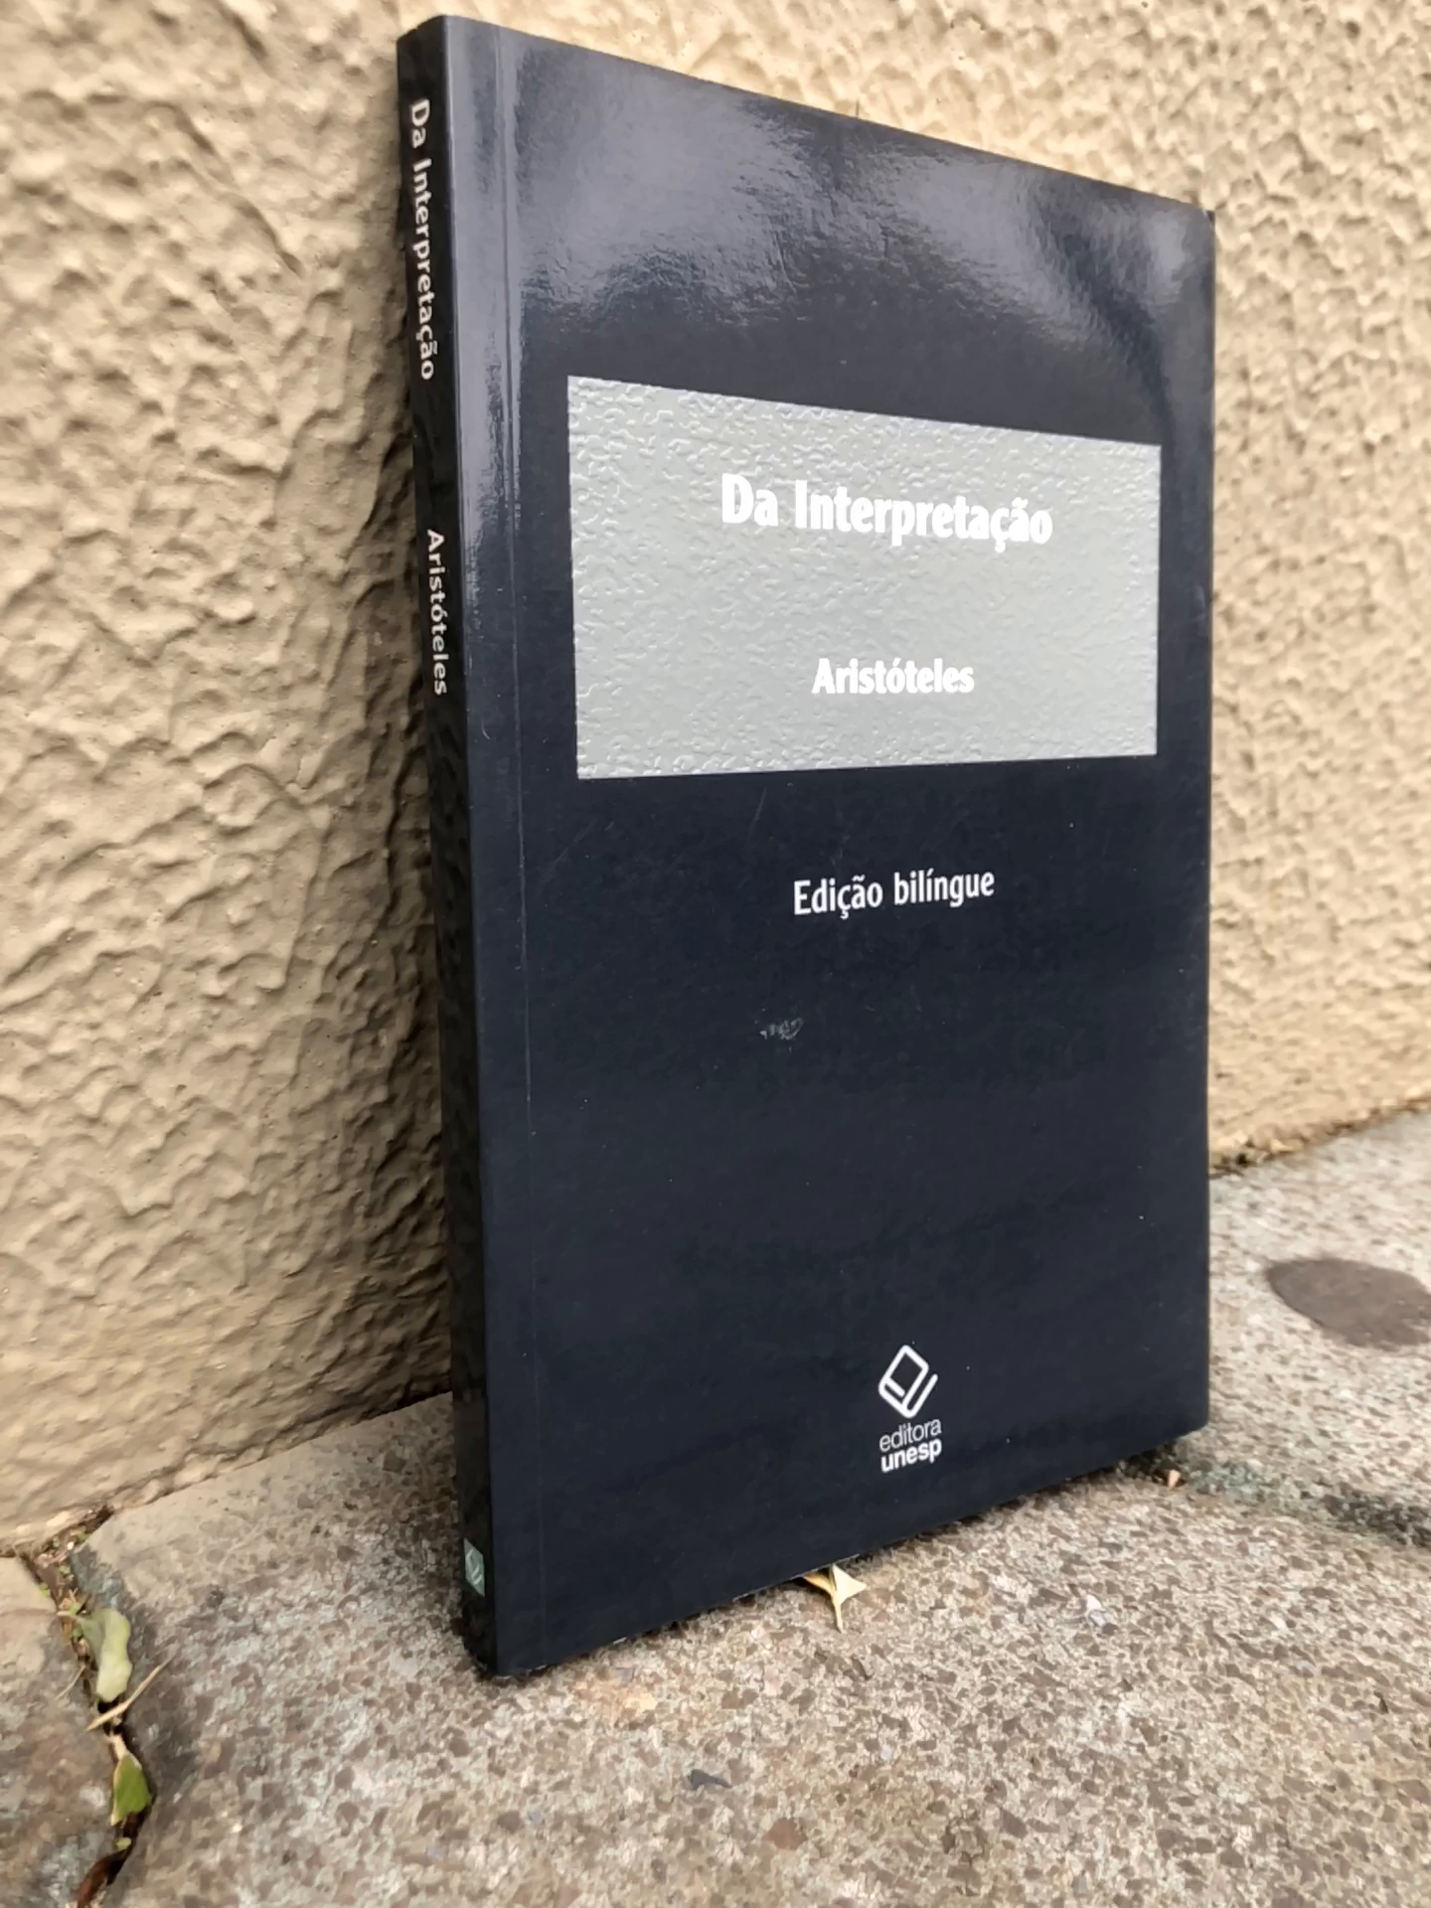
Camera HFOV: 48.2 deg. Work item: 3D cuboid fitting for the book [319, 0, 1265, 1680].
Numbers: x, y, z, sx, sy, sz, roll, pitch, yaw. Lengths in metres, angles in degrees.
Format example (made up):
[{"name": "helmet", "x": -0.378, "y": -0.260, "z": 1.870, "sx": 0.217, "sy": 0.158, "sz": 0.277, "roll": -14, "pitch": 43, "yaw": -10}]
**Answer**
[{"name": "book", "x": 0.019, "y": -0.015, "z": 0.225, "sx": 0.132, "sy": 0.188, "sz": 0.030, "roll": -6, "pitch": 9, "yaw": -31}]
